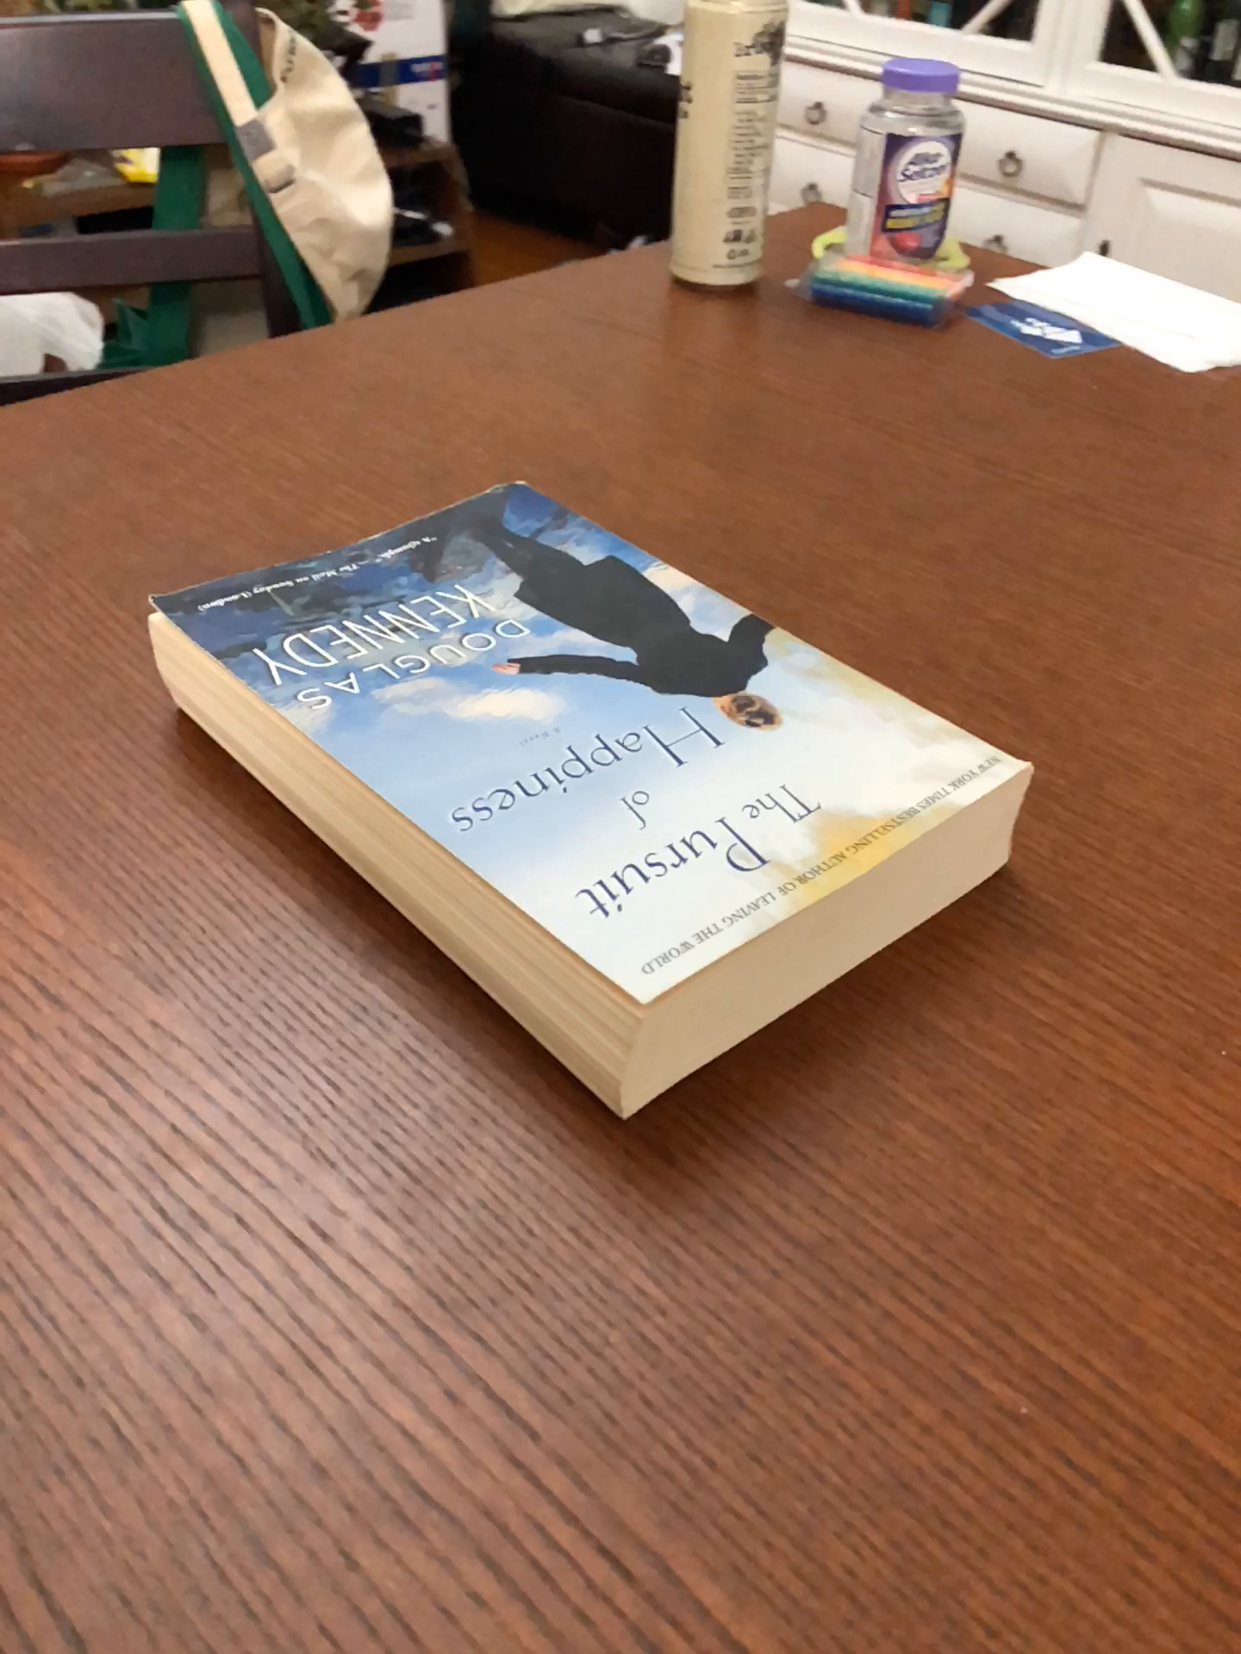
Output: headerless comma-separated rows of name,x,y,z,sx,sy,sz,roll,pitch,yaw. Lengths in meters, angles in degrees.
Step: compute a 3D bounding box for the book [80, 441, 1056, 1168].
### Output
book,-0.025,-0.032,0.404,0.161,0.050,0.241,-28,47,-32
